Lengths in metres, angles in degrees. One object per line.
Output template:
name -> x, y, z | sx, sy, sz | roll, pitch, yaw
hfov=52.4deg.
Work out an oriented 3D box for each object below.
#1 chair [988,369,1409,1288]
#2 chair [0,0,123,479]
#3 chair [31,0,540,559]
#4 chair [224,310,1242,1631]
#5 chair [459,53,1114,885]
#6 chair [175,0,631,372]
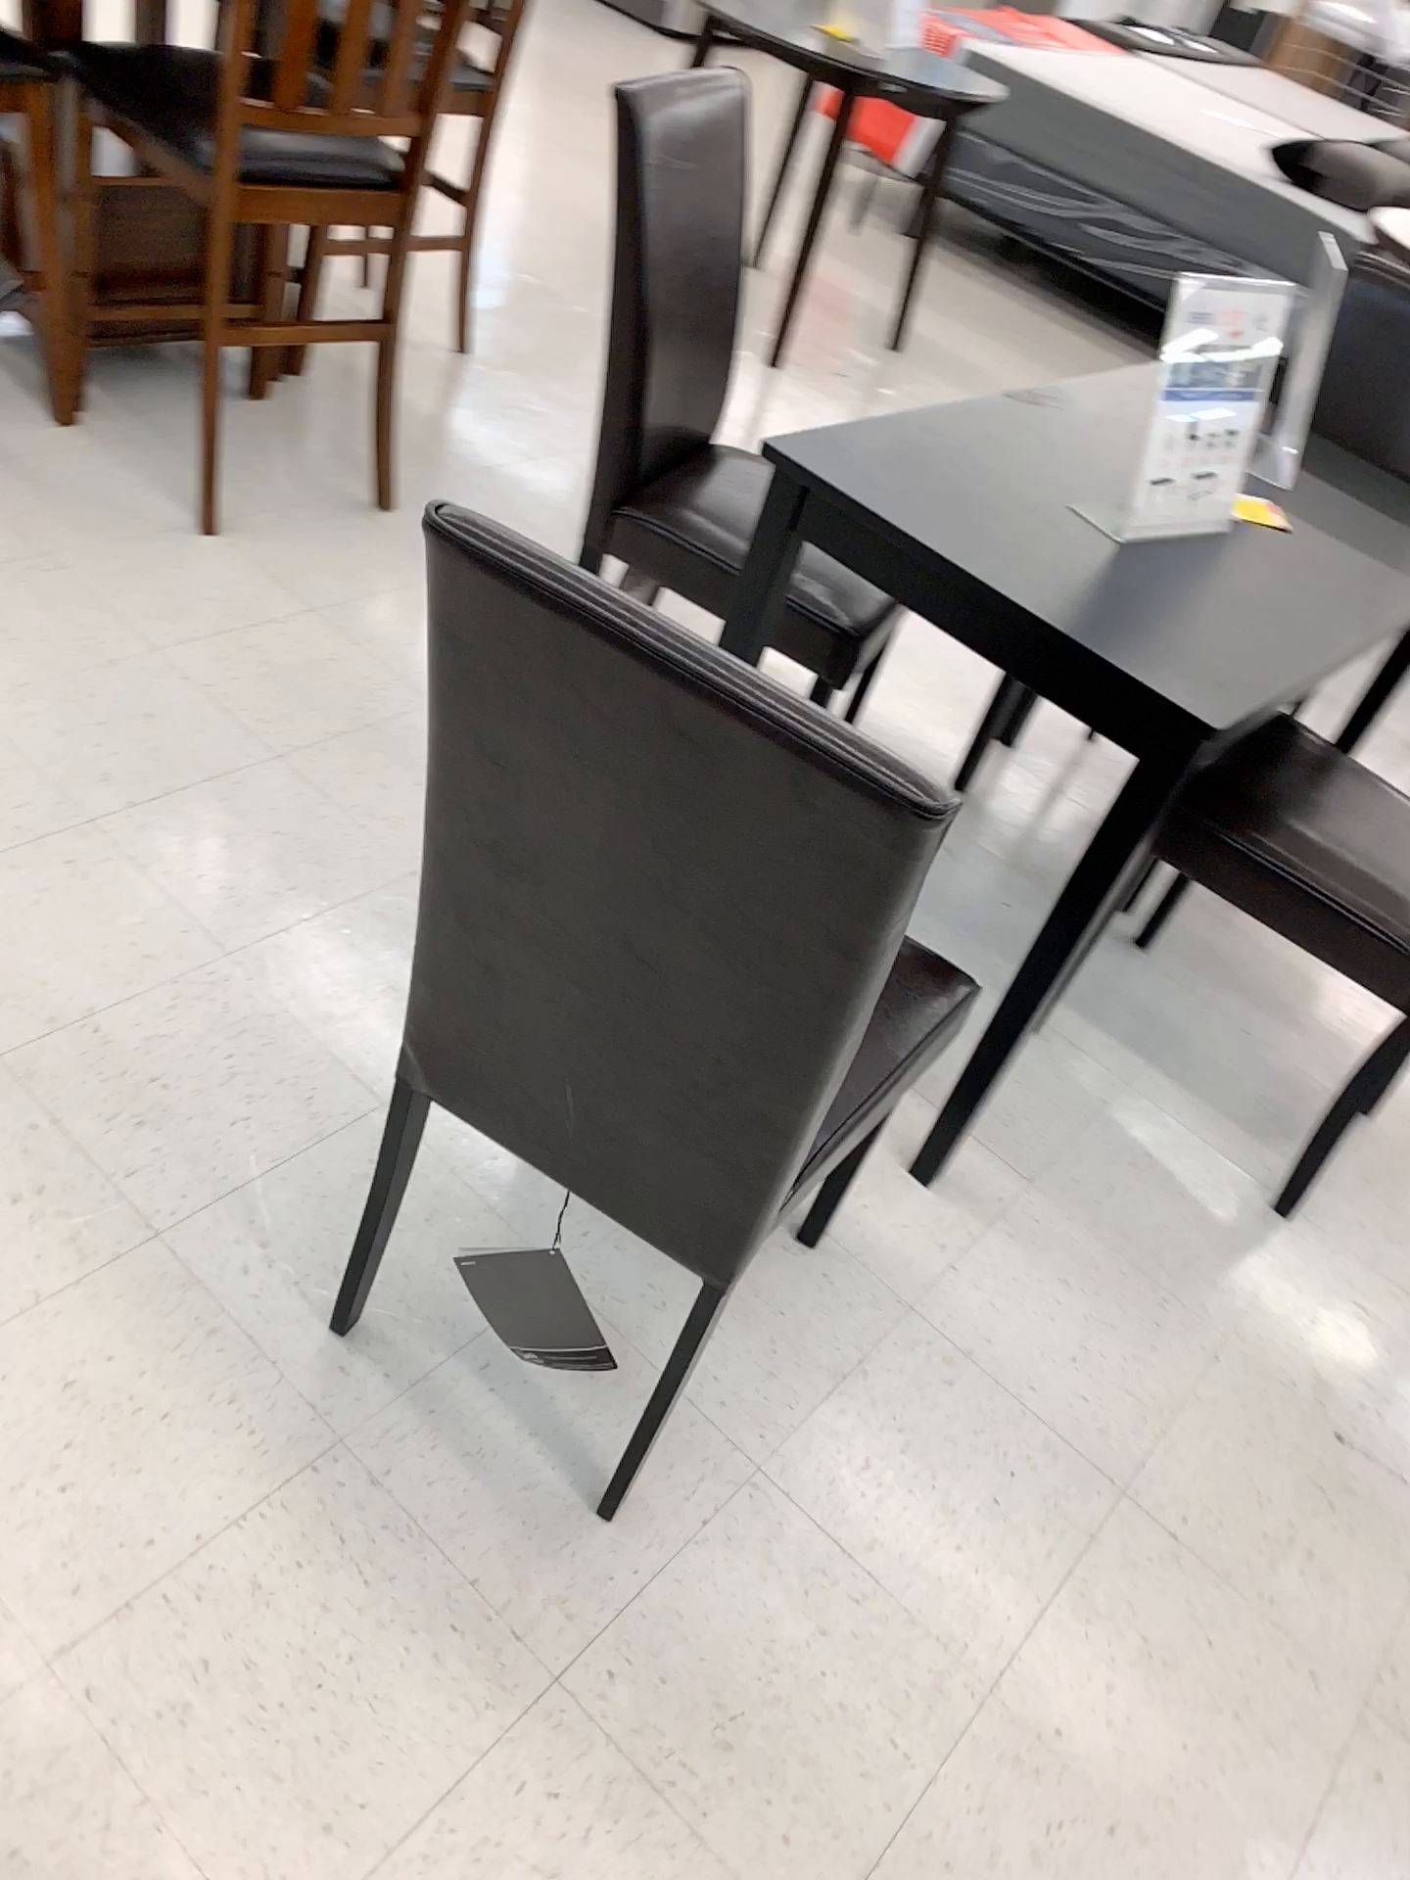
chair -> 0.888, -0.126, 1.846 | 0.595, 0.930, 0.416 | 37, 42, 19
chair -> -1.333, -1.329, 2.211 | 0.465, 1.009, 0.647 | 42, 44, 23
chair -> -0.738, -1.256, 2.368 | 0.466, 0.980, 0.646 | -19, 54, -38
chair -> -0.018, 0.040, 1.267 | 0.424, 0.930, 0.597 | 31, 41, 13
chair -> 0.078, -0.665, 2.107 | 0.594, 0.930, 0.416 | 28, 40, 9
chair -> -0.656, -1.770, 2.959 | 0.646, 0.980, 0.465 | -22, 56, -40
